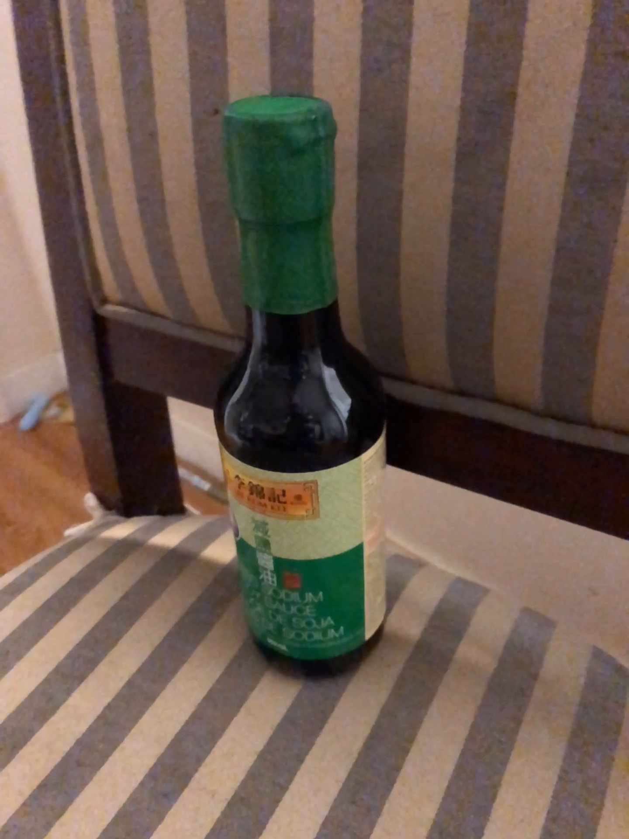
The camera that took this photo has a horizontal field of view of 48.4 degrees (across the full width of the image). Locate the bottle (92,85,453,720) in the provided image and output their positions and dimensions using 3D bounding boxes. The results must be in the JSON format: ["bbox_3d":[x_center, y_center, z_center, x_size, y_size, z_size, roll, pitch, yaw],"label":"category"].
[{"bbox_3d":[-0.005,0.004,0.271,0.080,0.228,0.070,19,41,28],"label":"bottle"}]
